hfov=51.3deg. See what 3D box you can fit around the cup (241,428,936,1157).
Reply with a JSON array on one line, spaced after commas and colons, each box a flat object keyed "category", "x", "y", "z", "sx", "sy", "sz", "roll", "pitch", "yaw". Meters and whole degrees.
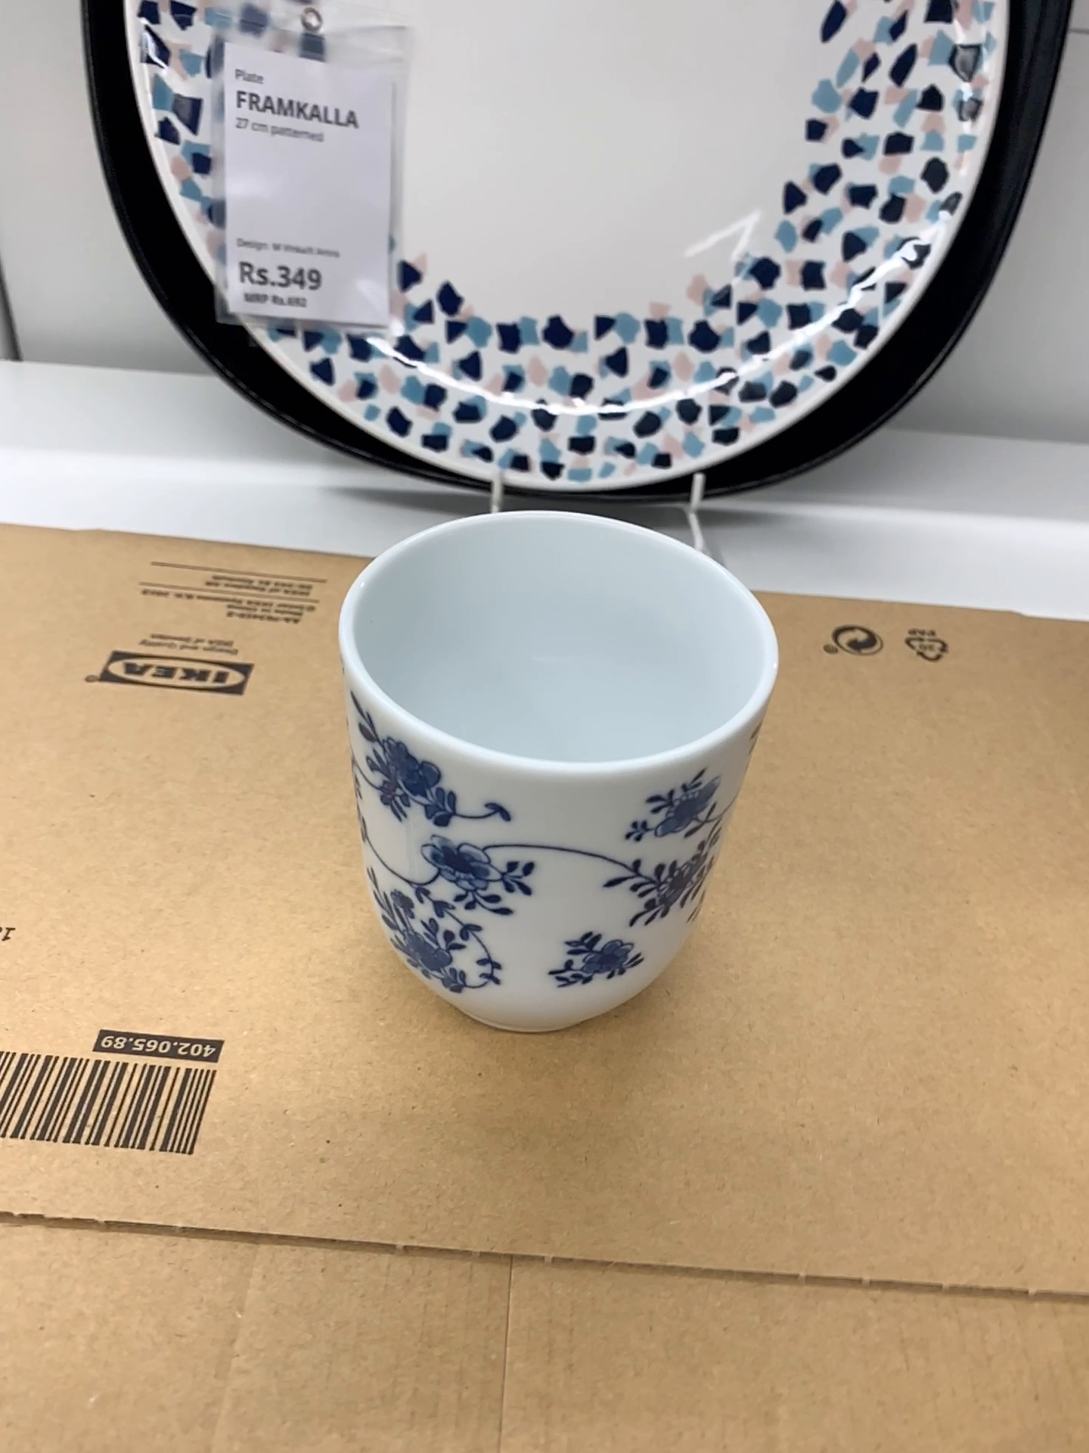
[{"category": "cup", "x": 0.001, "y": 0.006, "z": 0.203, "sx": 0.080, "sy": 0.080, "sz": 0.080, "roll": 4, "pitch": 38, "yaw": -3}]
